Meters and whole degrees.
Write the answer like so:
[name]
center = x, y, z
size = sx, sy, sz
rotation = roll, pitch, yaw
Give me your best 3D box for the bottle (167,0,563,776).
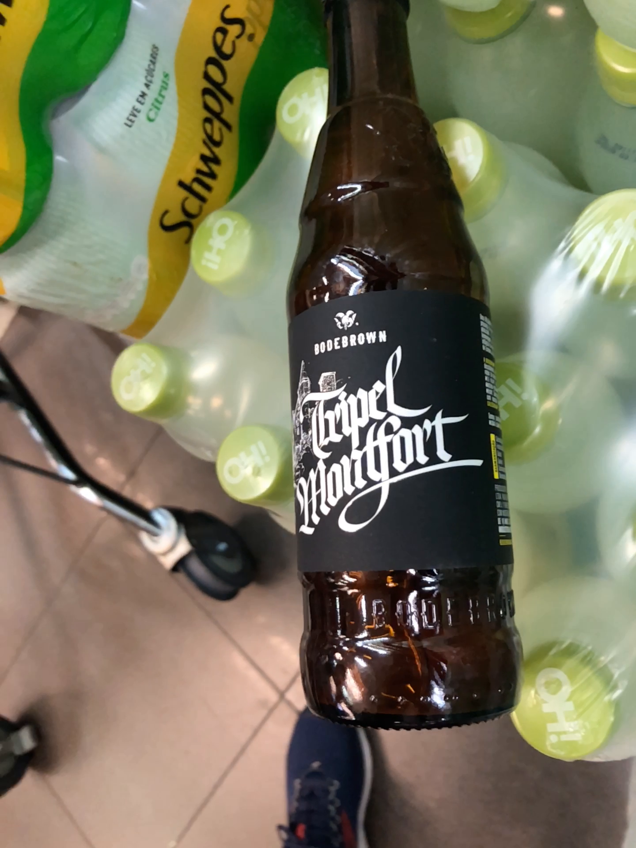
[bottle]
center = 0.012, -0.049, 0.199
size = 0.070, 0.070, 0.250
rotation = -9, 79, 25
